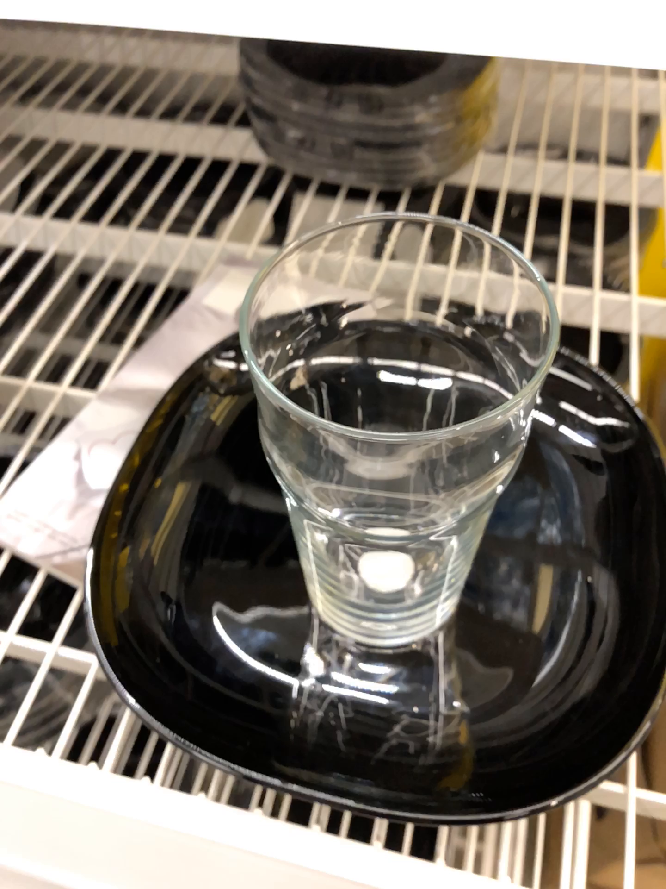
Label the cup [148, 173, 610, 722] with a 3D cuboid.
[{"bbox_3d":[0.016,0.006,0.253,0.090,0.140,0.090,0,50,0],"label":"cup"}]
